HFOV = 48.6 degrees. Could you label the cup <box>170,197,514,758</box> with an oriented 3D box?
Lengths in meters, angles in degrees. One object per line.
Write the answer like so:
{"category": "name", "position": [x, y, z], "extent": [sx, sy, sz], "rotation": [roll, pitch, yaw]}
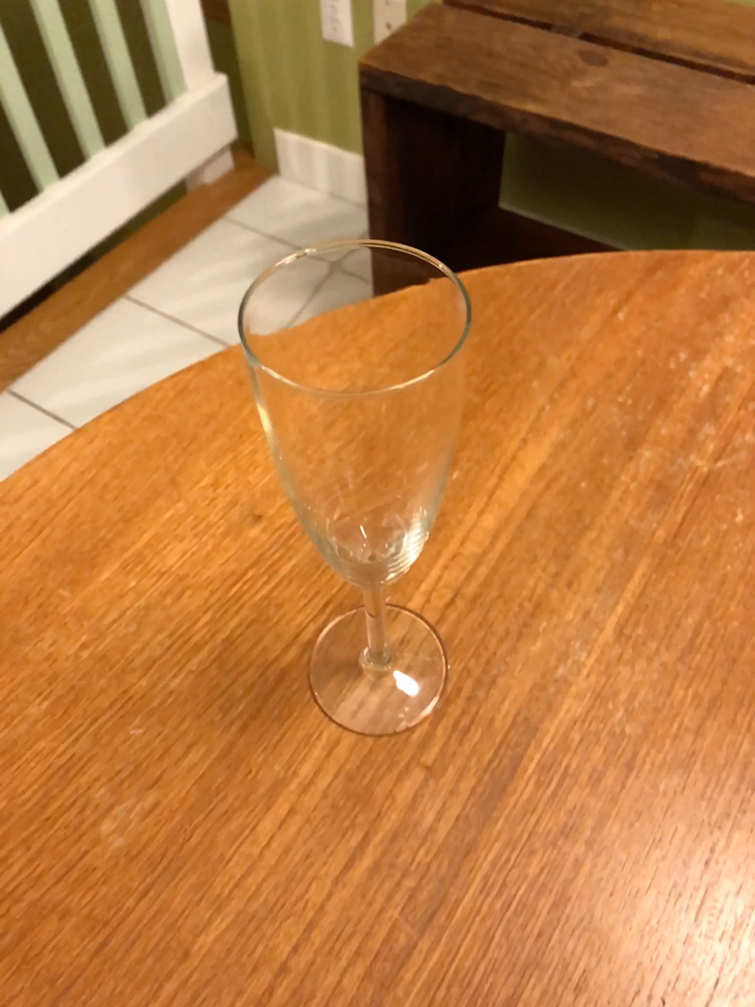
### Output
{"category": "cup", "position": [-0.003, 0.010, 0.307], "extent": [0.066, 0.215, 0.074], "rotation": [18, 56, 15]}
